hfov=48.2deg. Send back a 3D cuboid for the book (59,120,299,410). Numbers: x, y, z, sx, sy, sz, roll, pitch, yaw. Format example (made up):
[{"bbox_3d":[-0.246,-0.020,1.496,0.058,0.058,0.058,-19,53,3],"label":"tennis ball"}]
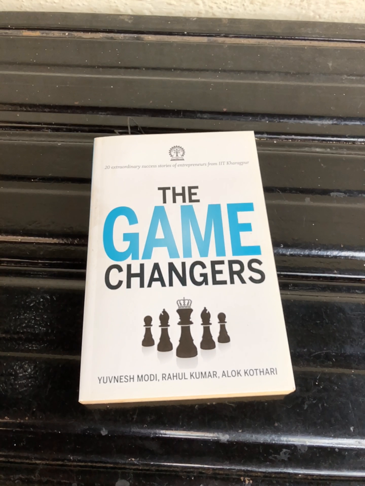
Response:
[{"bbox_3d":[-0.006,0.004,0.298,0.140,0.030,0.210,-3,64,-1],"label":"book"}]
